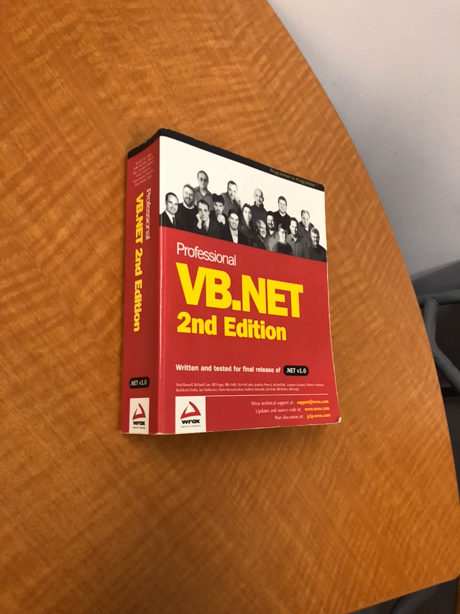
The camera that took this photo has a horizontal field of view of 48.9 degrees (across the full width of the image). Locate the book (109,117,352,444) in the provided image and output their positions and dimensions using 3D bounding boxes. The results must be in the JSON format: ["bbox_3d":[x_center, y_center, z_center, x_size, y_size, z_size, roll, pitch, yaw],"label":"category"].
[{"bbox_3d":[0.007,-0.009,0.427,0.201,0.060,0.230,9,74,-38],"label":"book"}]
